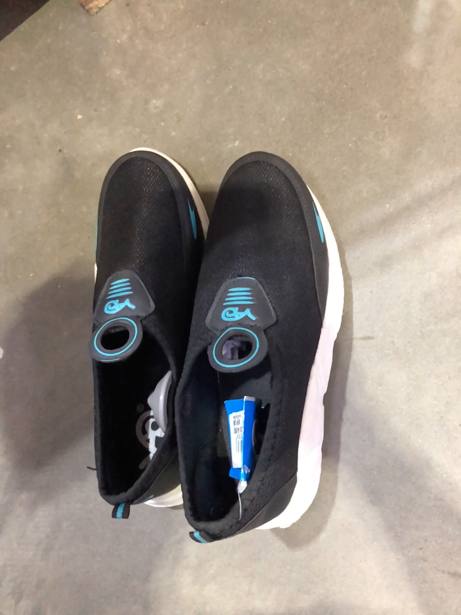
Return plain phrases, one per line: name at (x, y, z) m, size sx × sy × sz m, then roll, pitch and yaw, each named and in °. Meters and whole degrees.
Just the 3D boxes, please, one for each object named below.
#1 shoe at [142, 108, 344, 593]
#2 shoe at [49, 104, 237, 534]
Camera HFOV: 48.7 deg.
shoe at (0.019, 0.024, 0.380) m, size 0.110 × 0.100 × 0.300 m, roll 2°, pitch 84°, yaw 18°
shoe at (-0.069, 0.010, 0.417) m, size 0.110 × 0.100 × 0.300 m, roll -5°, pitch 82°, yaw 17°
